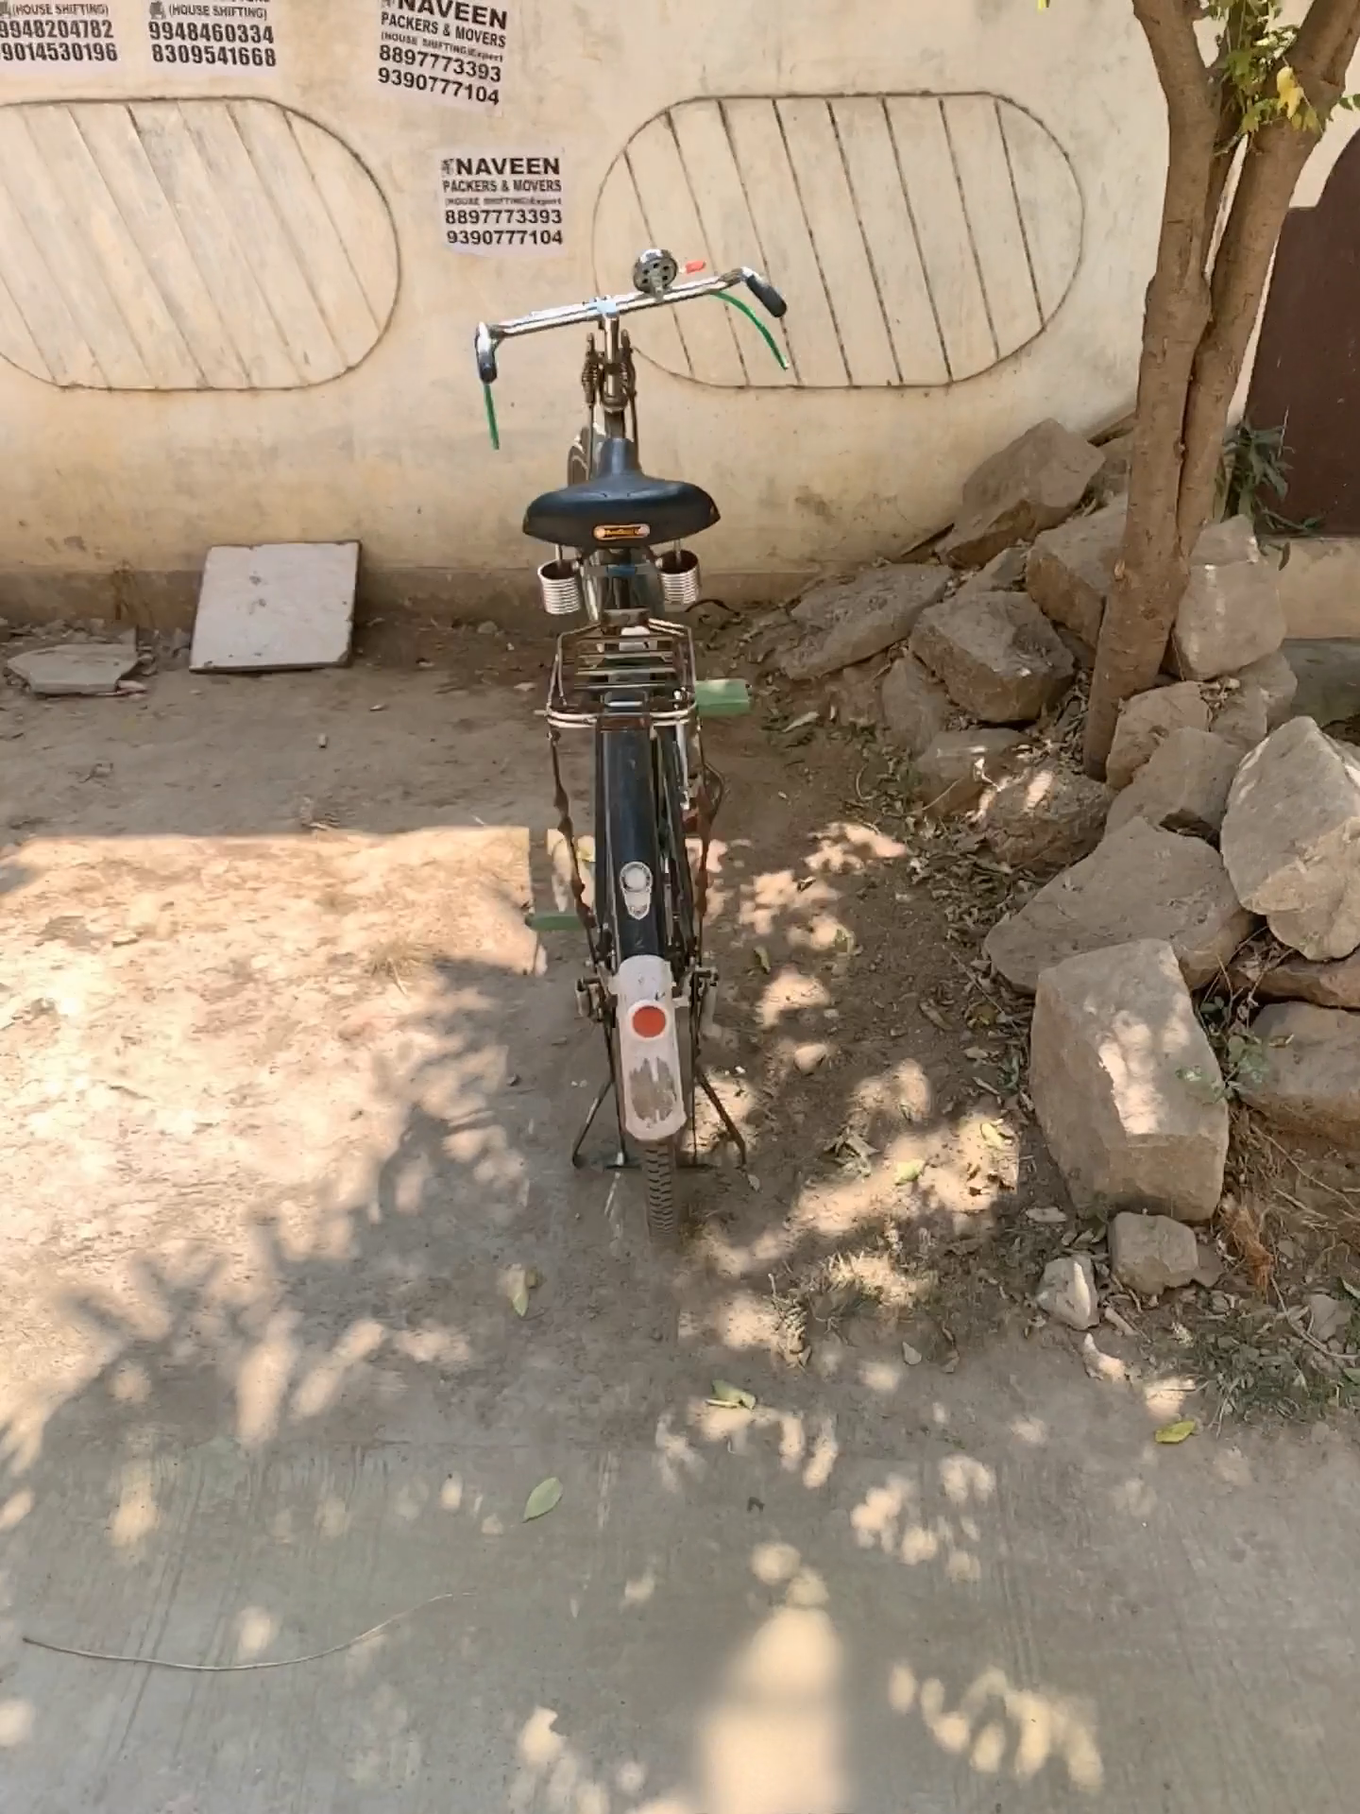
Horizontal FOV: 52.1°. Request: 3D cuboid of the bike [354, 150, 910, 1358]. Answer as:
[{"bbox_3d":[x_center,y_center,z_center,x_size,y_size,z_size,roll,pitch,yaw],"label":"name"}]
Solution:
[{"bbox_3d":[-0.144,-0.400,2.075,0.465,0.994,1.661,-4,37,-6],"label":"bike"}]
